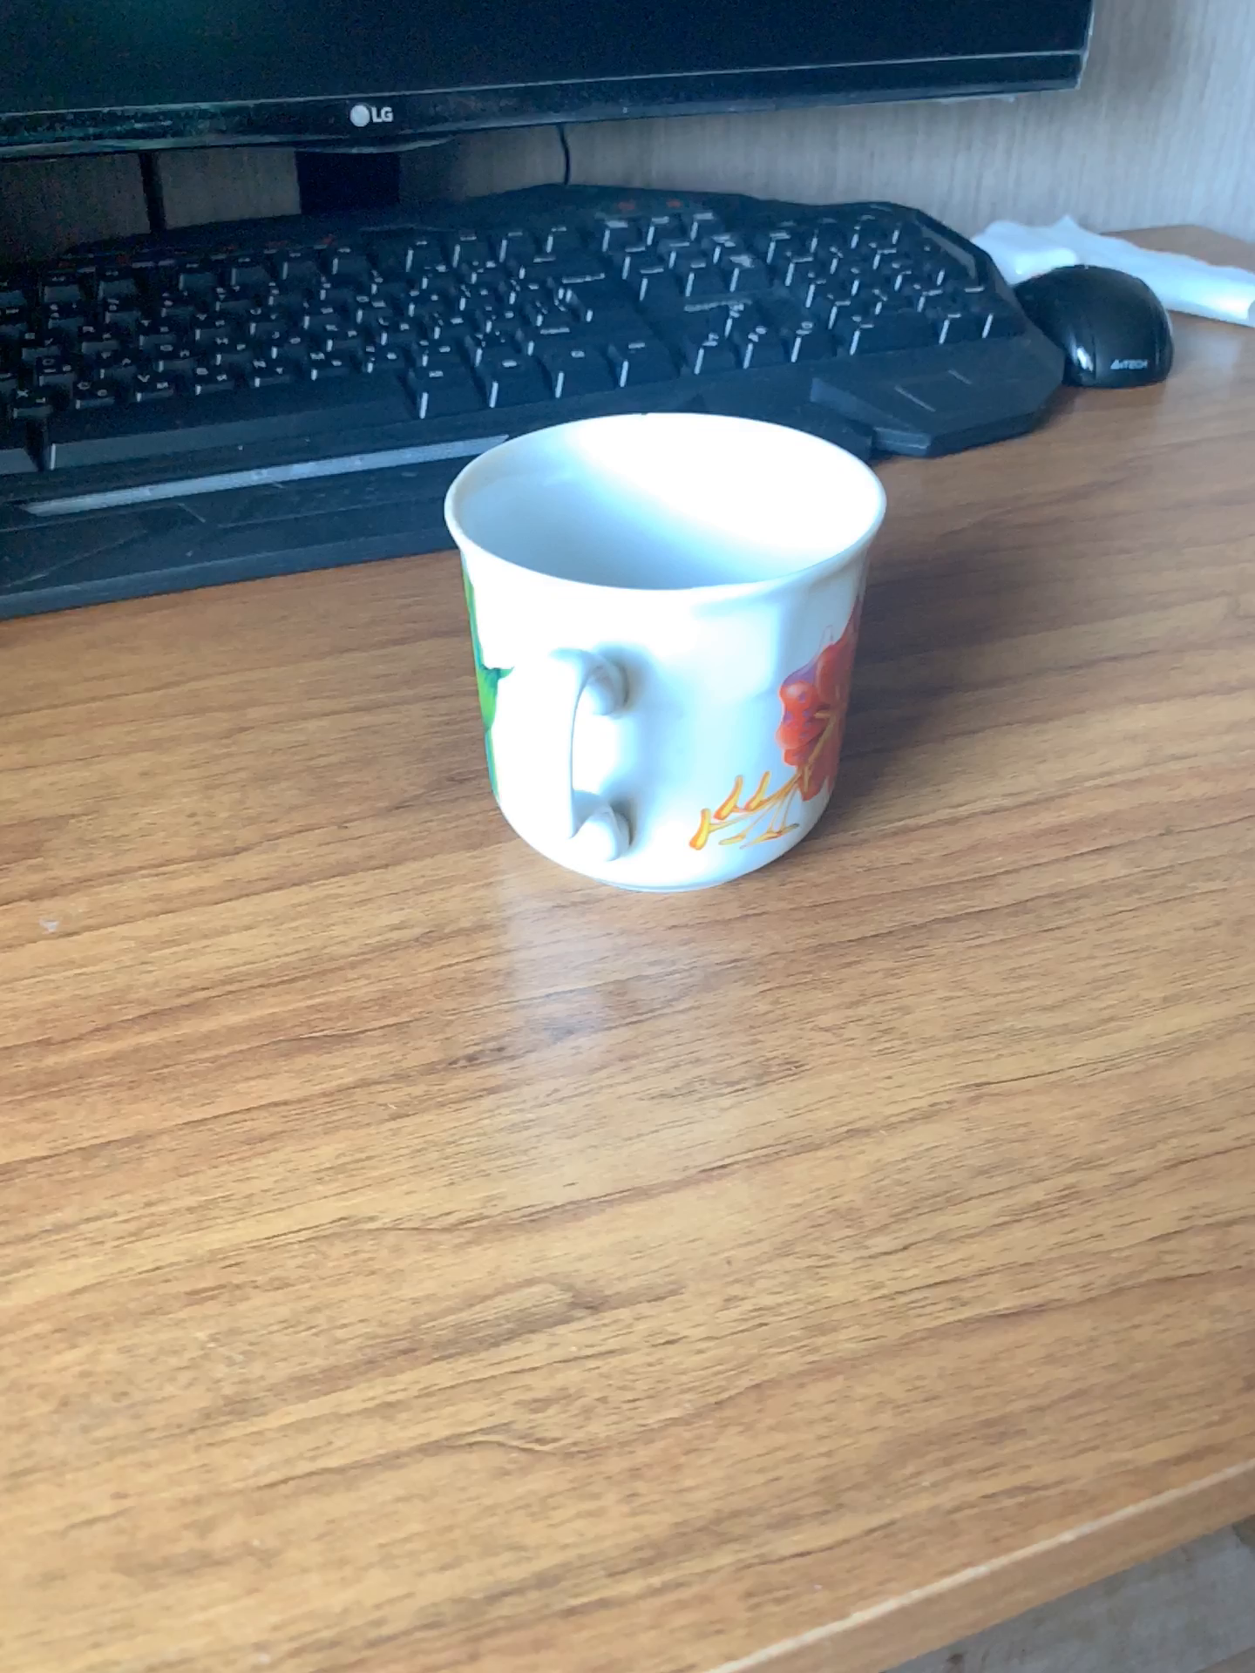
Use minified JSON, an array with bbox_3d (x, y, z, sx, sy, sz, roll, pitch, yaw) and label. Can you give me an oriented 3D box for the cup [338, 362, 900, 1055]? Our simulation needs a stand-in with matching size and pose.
[{"bbox_3d":[0.007,-0.032,0.249,0.070,0.080,0.110,8,38,13],"label":"cup"}]
